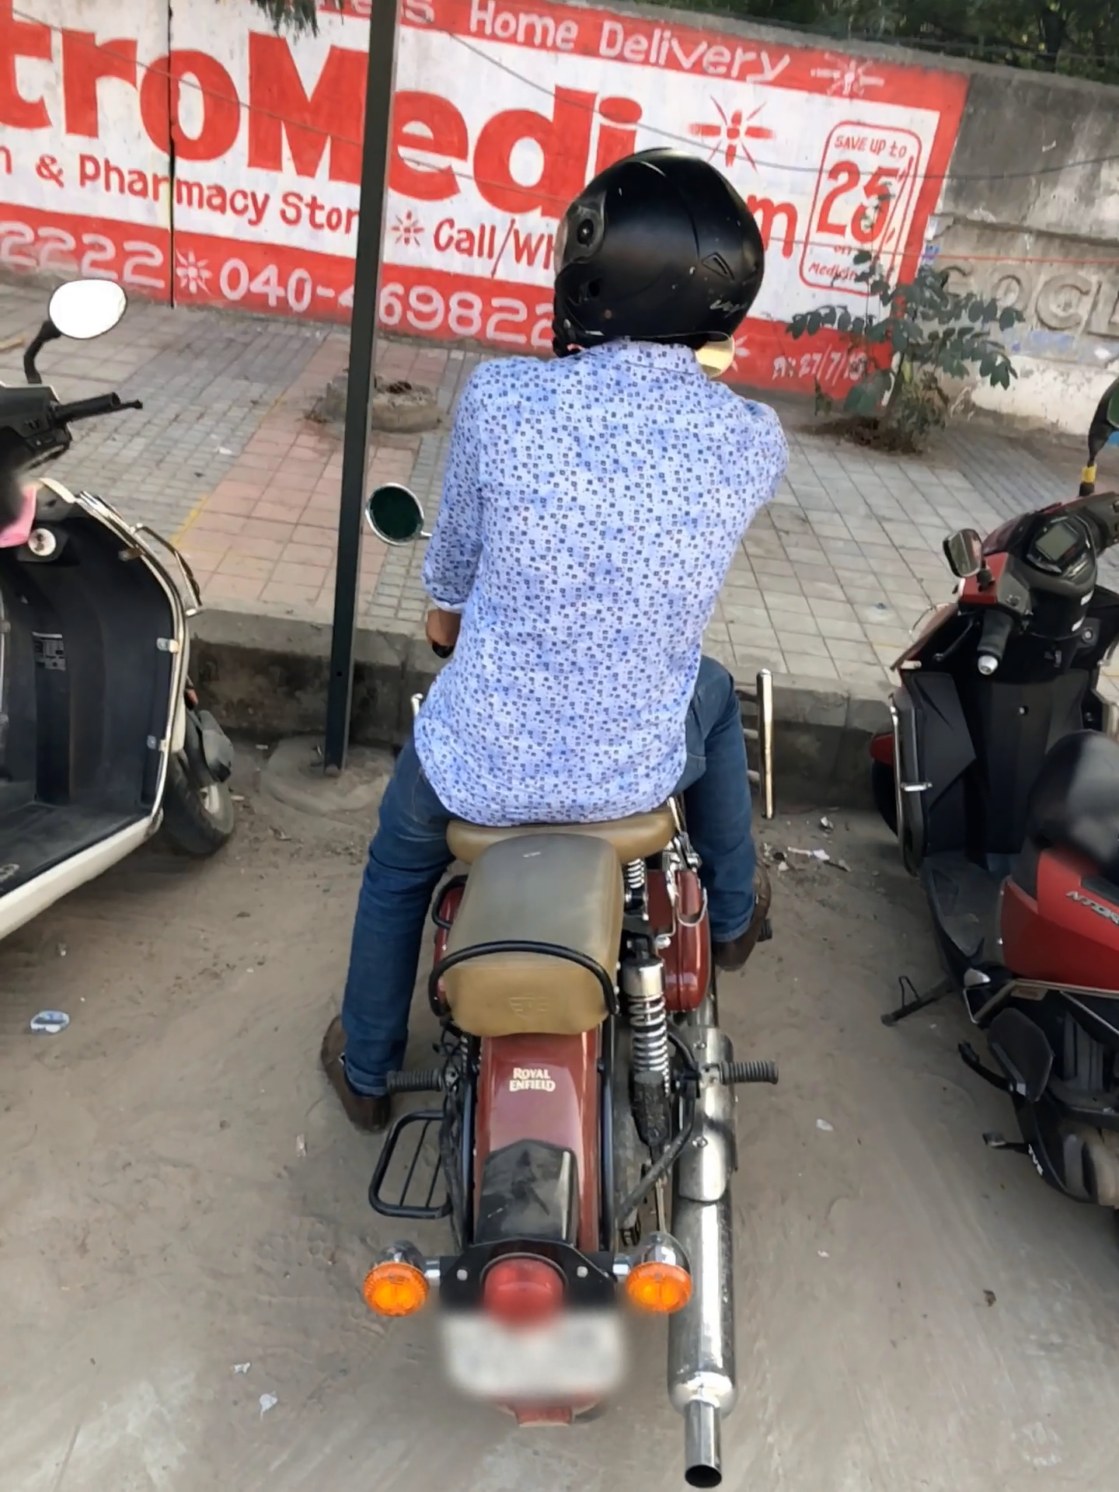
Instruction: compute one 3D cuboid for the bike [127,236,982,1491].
[{"bbox_3d":[-0.059,0.101,2.039,0.792,1.255,1.559,8,34,-2],"label":"bike"}]
